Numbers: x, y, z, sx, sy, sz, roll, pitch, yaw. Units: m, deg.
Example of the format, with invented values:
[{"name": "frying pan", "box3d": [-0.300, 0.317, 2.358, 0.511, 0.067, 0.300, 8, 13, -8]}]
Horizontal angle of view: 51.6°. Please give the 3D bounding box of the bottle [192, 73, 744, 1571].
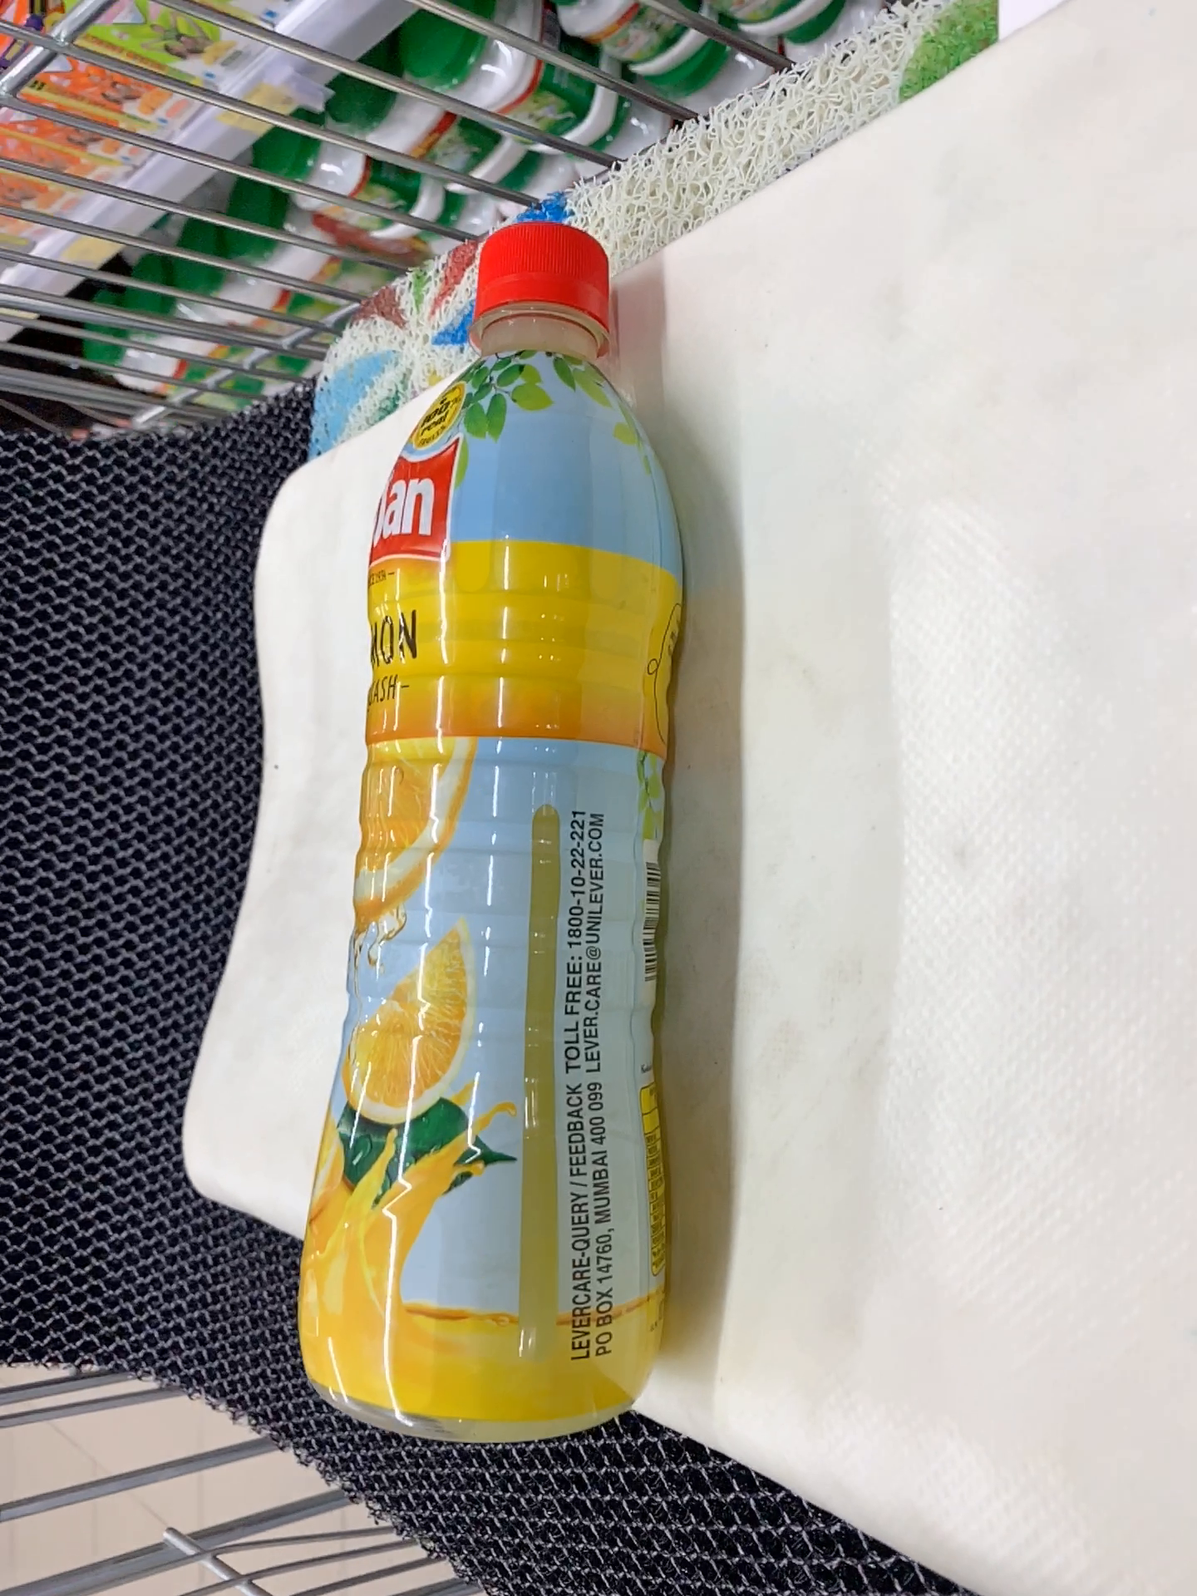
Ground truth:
[{"name": "bottle", "box3d": [-0.025, 0.003, 0.243, 0.080, 0.070, 0.230, -3, 85, 46]}]
